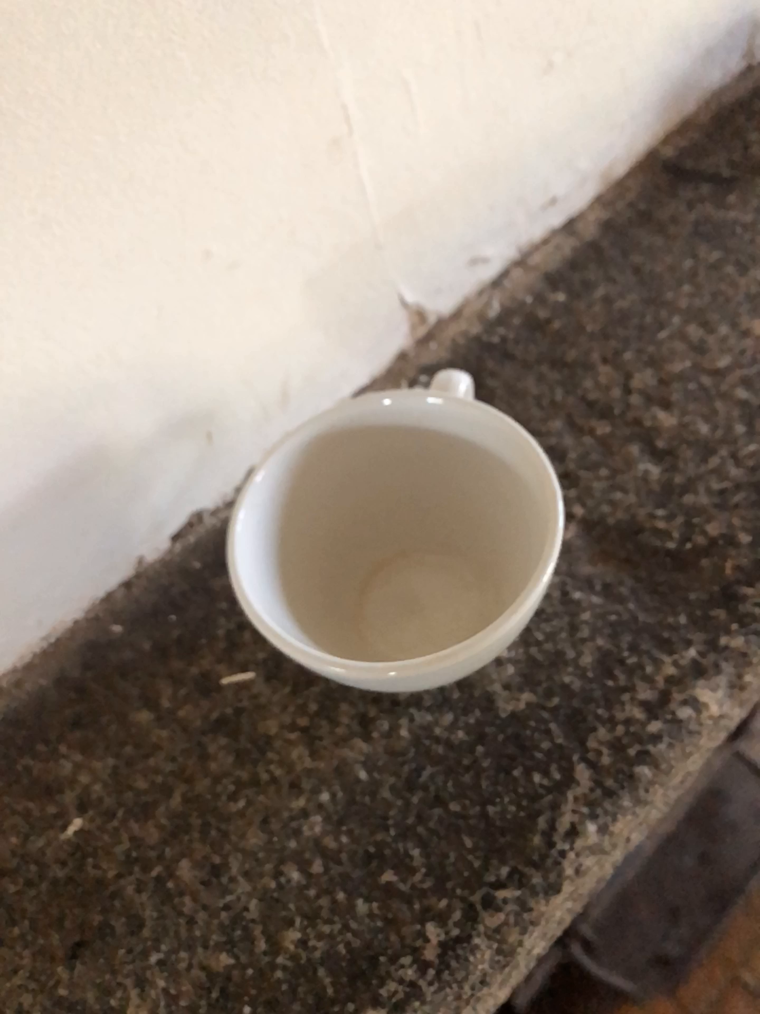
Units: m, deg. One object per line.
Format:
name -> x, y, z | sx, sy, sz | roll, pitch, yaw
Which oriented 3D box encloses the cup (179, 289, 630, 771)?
cup -> 0.013, 0.001, 0.222 | 0.080, 0.050, 0.100 | 11, 60, 19
